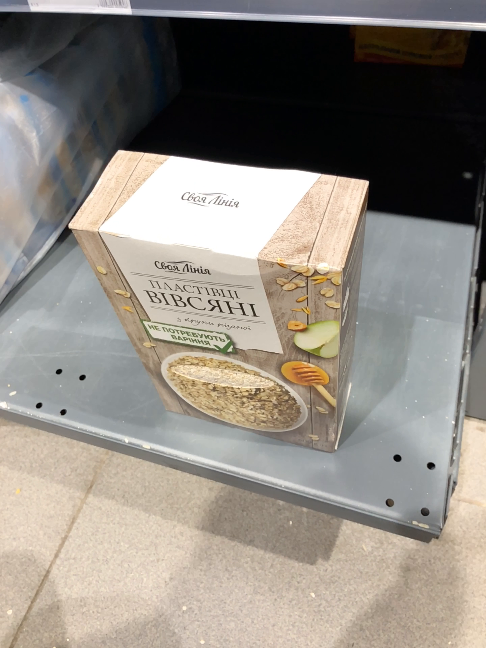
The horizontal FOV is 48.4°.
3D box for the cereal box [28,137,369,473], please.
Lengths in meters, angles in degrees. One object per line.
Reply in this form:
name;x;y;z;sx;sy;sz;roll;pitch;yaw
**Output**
cereal box;-0.009;0.005;0.352;0.150;0.228;0.070;12;58;16
